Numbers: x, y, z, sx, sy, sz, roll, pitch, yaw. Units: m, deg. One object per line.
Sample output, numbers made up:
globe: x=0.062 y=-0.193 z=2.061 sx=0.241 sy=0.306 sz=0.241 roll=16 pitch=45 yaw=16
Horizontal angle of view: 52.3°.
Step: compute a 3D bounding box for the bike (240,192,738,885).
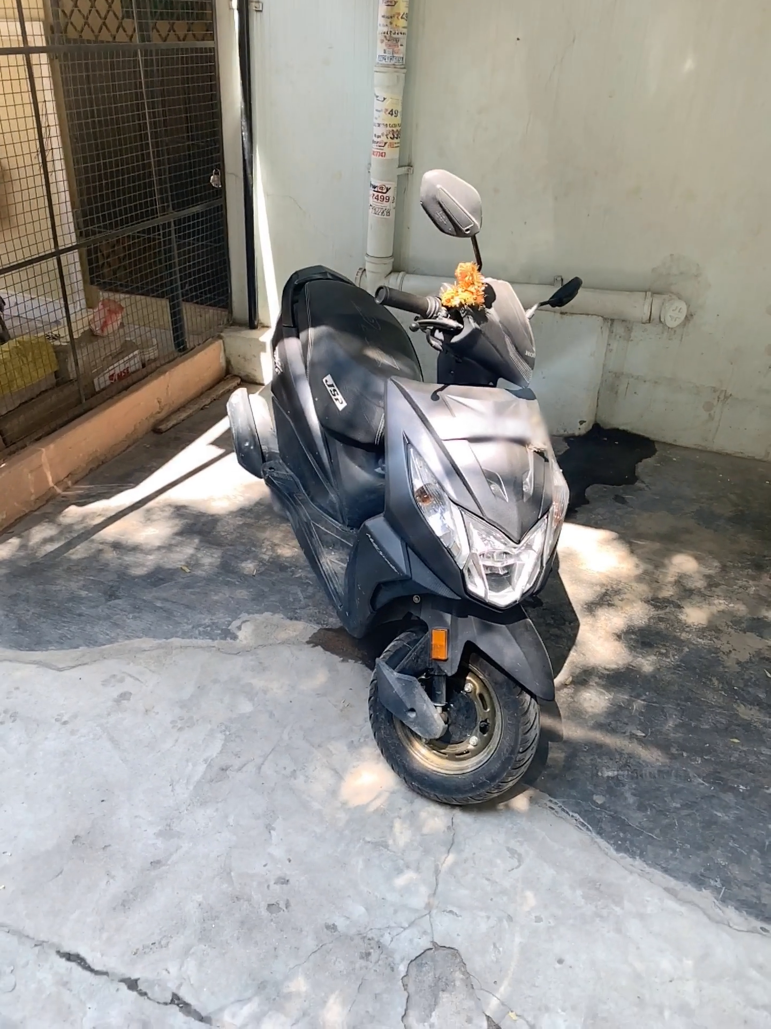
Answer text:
bike: x=0.075 y=-0.067 z=2.275 sx=0.503 sy=1.278 sz=1.515 roll=-11 pitch=36 yaw=-23
